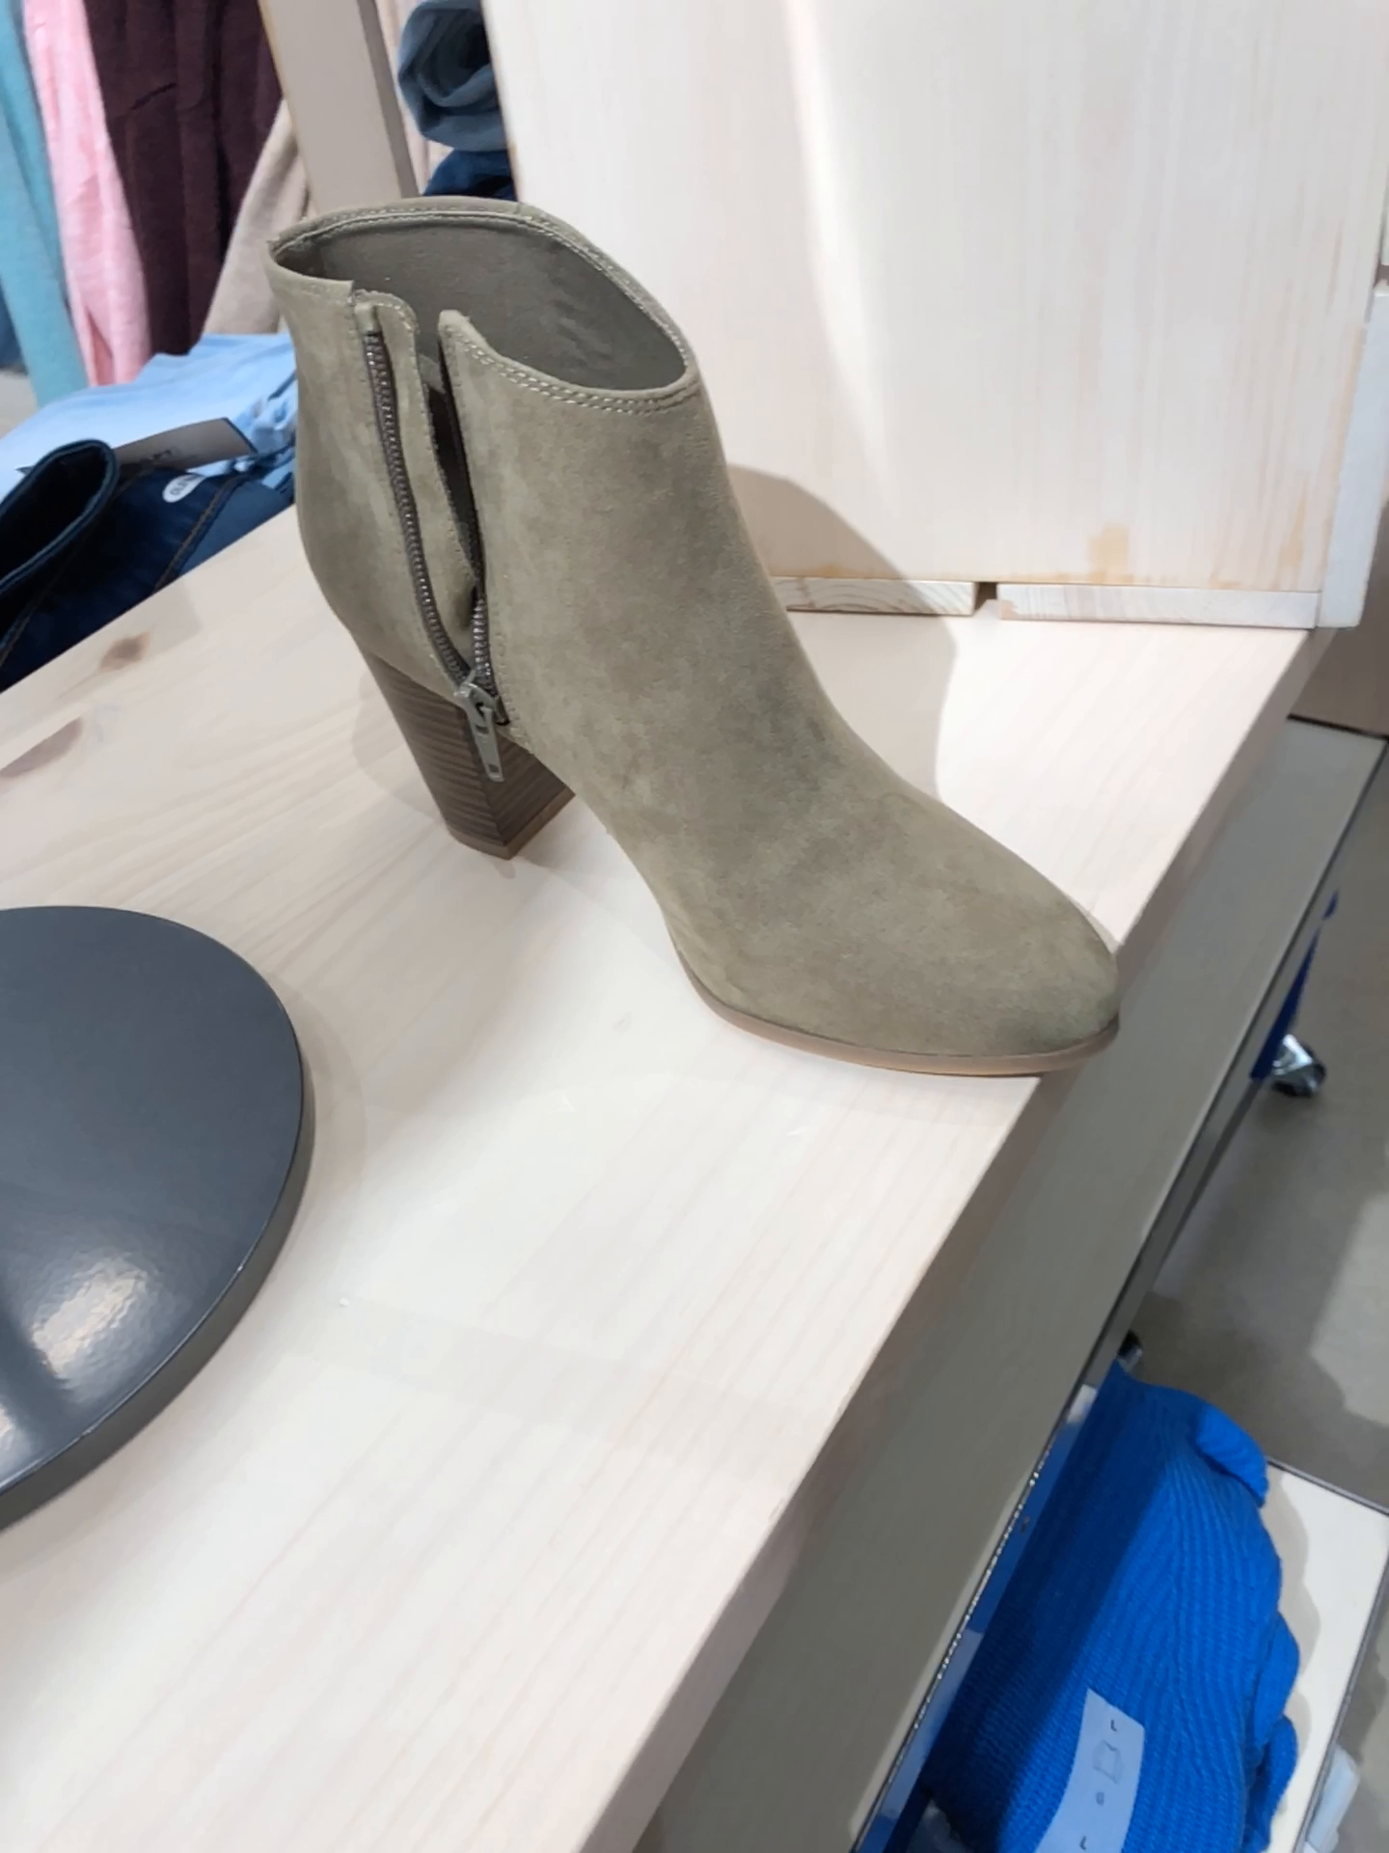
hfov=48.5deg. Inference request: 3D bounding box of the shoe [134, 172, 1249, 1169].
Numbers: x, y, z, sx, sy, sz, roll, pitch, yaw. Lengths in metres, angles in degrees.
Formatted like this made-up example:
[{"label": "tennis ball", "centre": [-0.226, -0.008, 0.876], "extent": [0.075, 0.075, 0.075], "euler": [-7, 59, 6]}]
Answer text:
[{"label": "shoe", "centre": [-0.004, -0.073, 0.379], "extent": [0.230, 0.169, 0.090], "euler": [23, 50, 32]}]
